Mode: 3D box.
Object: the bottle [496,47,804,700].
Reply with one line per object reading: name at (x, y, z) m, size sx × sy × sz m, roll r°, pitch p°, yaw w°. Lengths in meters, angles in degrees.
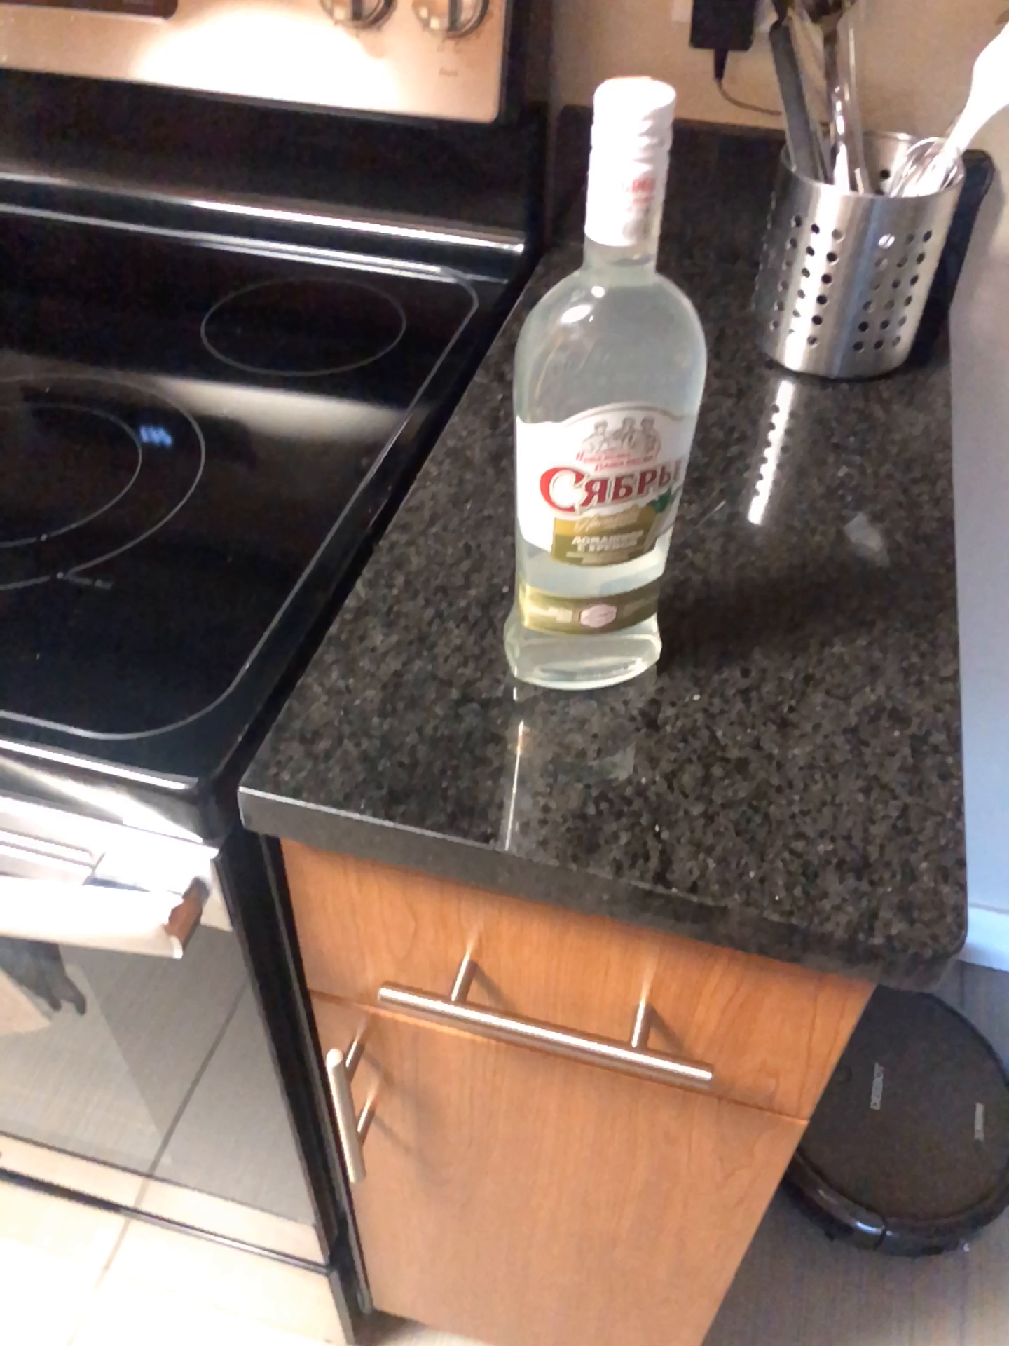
bottle at (0.046, -0.106, 0.470) m, size 0.090 × 0.269 × 0.060 m, roll -2°, pitch 44°, yaw -4°
